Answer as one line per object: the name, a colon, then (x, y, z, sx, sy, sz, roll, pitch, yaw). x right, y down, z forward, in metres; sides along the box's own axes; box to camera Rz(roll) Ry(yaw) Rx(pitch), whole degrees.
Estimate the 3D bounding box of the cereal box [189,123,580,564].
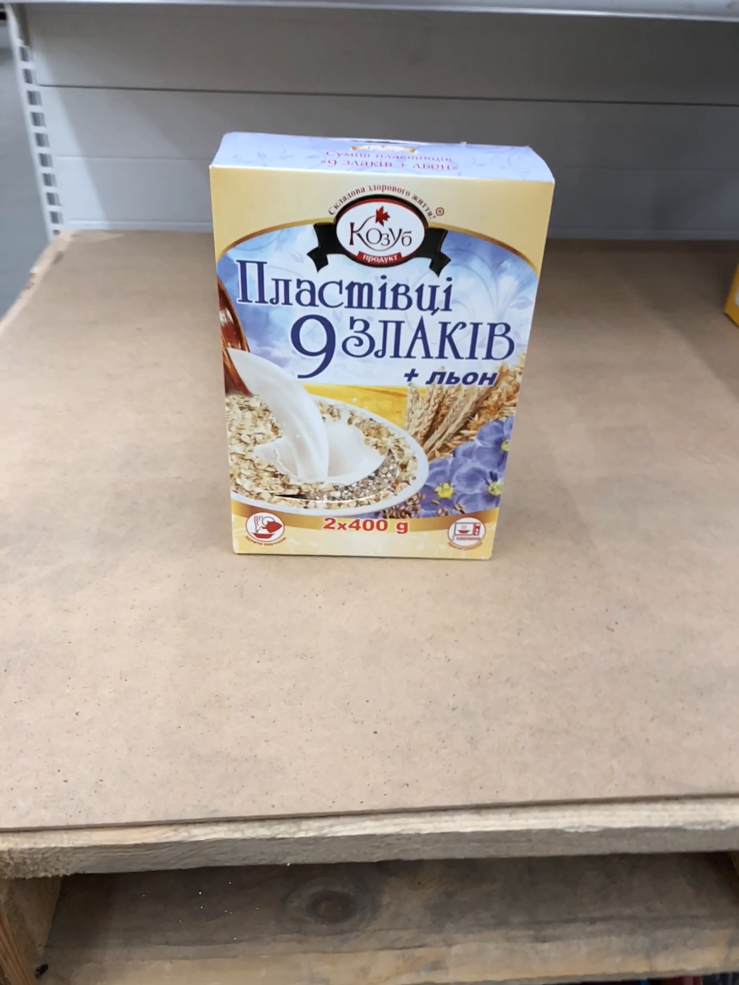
cereal box: (0.001, -0.074, 0.473, 0.180, 0.238, 0.071, 2, 36, -2)
